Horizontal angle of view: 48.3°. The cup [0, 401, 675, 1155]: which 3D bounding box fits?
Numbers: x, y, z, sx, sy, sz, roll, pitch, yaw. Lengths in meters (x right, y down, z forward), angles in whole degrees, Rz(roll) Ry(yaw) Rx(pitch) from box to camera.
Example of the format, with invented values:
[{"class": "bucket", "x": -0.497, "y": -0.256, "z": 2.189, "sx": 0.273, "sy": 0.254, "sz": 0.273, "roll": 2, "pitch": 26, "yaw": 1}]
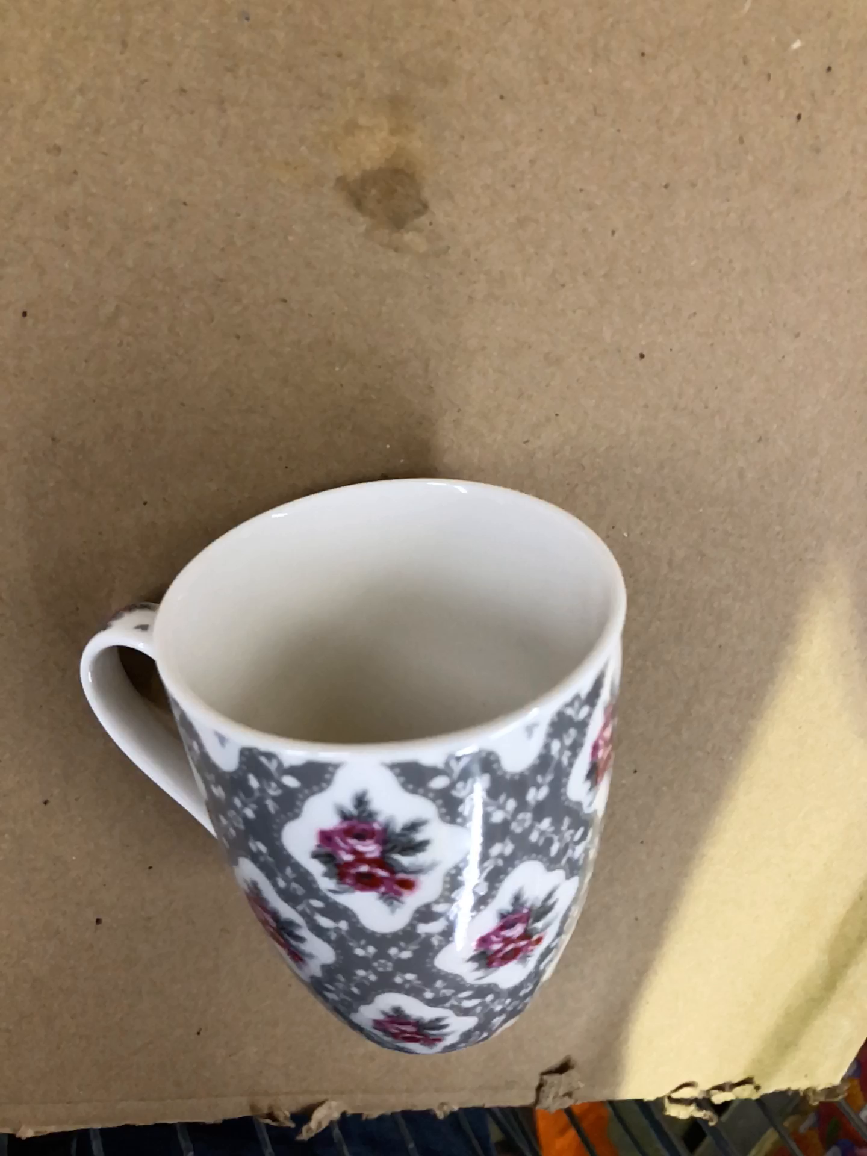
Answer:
[{"class": "cup", "x": -0.017, "y": 0.039, "z": 0.177, "sx": 0.100, "sy": 0.080, "sz": 0.110, "roll": 8, "pitch": 125, "yaw": 19}]
